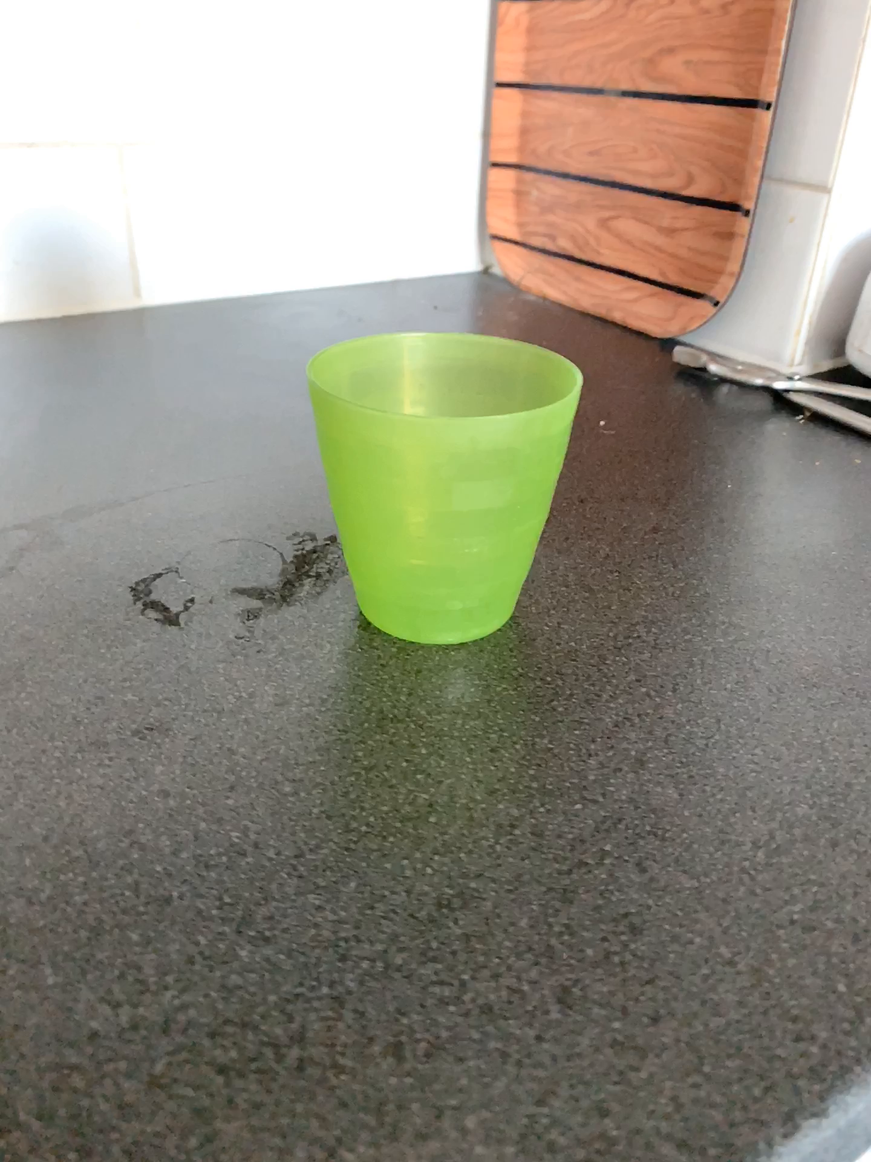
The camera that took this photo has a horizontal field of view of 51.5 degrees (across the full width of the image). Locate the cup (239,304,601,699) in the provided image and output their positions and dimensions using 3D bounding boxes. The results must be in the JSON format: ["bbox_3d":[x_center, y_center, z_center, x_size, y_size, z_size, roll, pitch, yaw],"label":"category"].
[{"bbox_3d":[-0.003,-0.031,0.286,0.077,0.080,0.090,15,32,17],"label":"cup"}]
